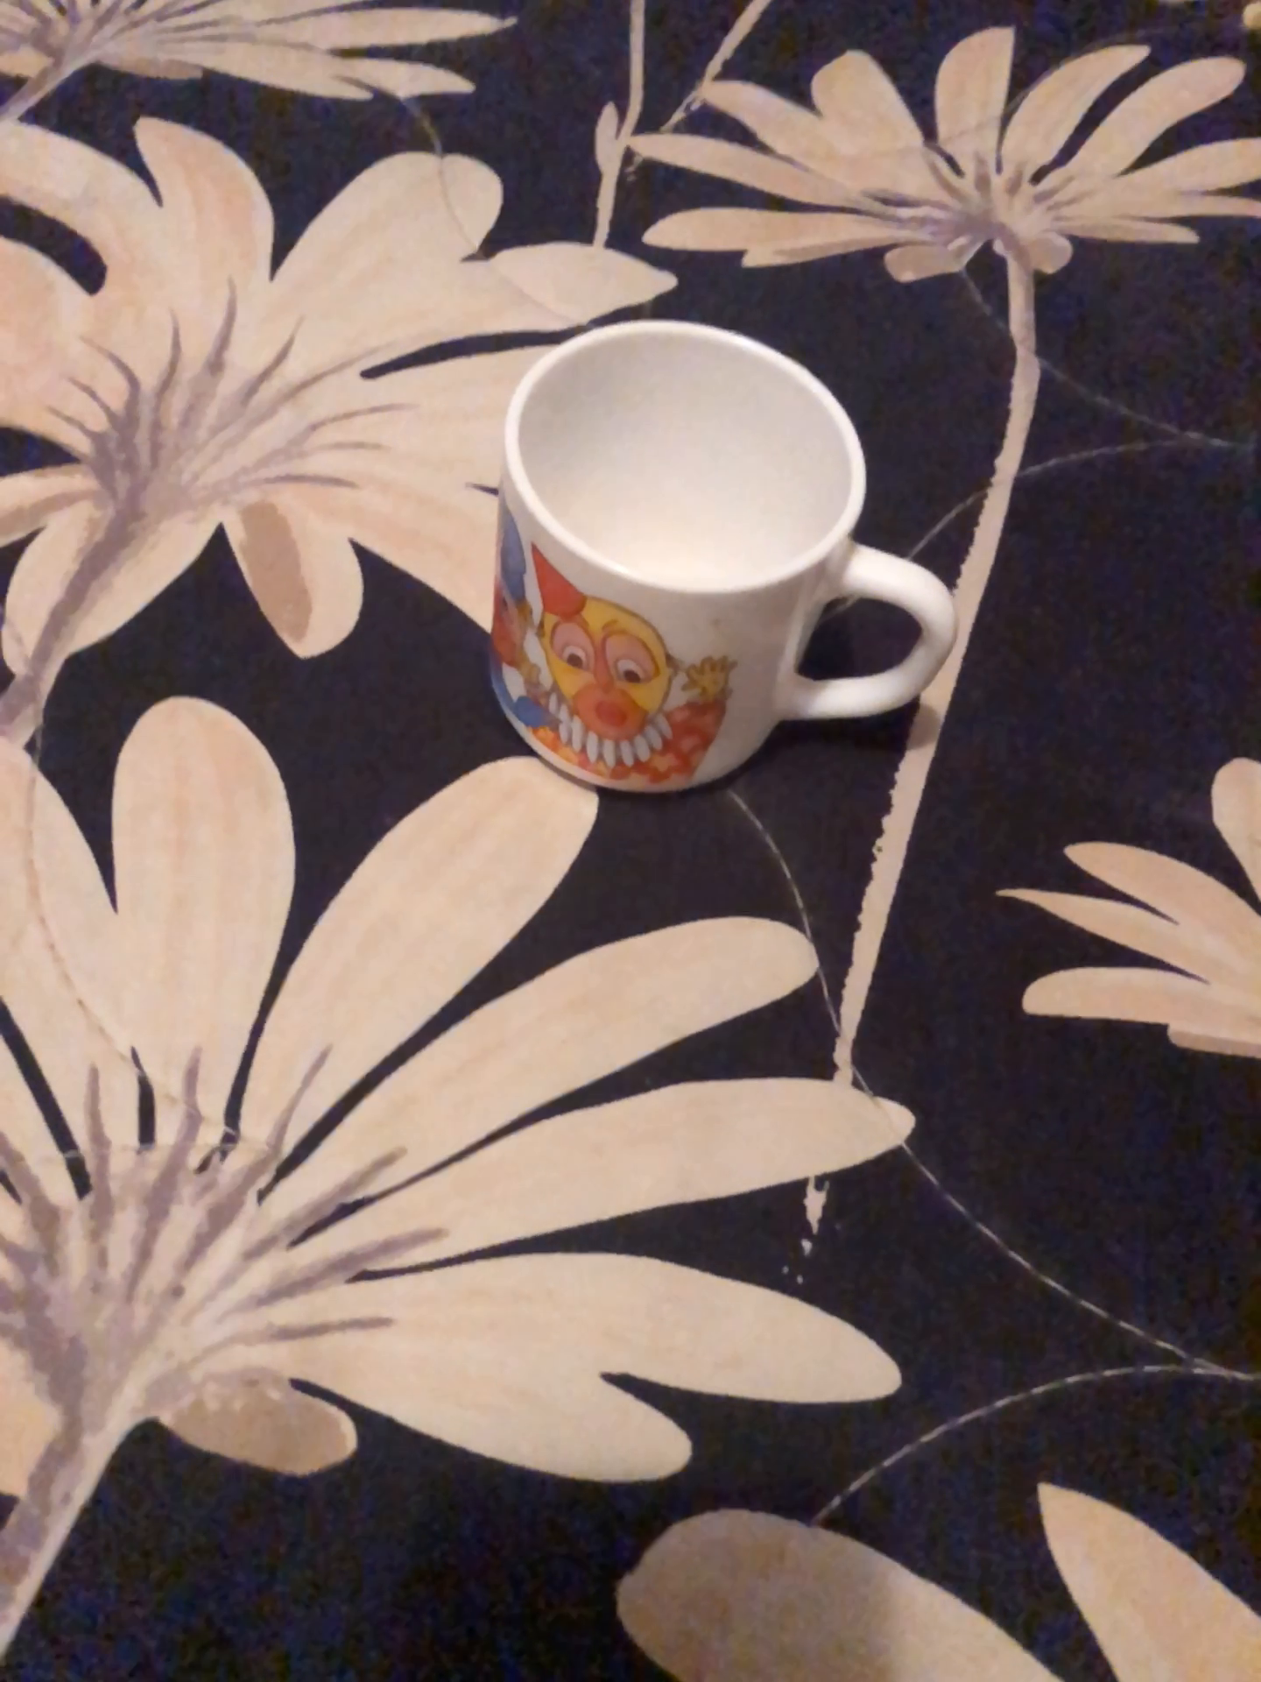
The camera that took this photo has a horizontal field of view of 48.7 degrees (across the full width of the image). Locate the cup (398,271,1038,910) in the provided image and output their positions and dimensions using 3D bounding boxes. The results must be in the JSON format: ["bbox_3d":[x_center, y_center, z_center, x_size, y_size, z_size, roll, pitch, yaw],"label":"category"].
[{"bbox_3d":[0.019,-0.058,0.321,0.108,0.077,0.085,24,58,12],"label":"cup"}]
